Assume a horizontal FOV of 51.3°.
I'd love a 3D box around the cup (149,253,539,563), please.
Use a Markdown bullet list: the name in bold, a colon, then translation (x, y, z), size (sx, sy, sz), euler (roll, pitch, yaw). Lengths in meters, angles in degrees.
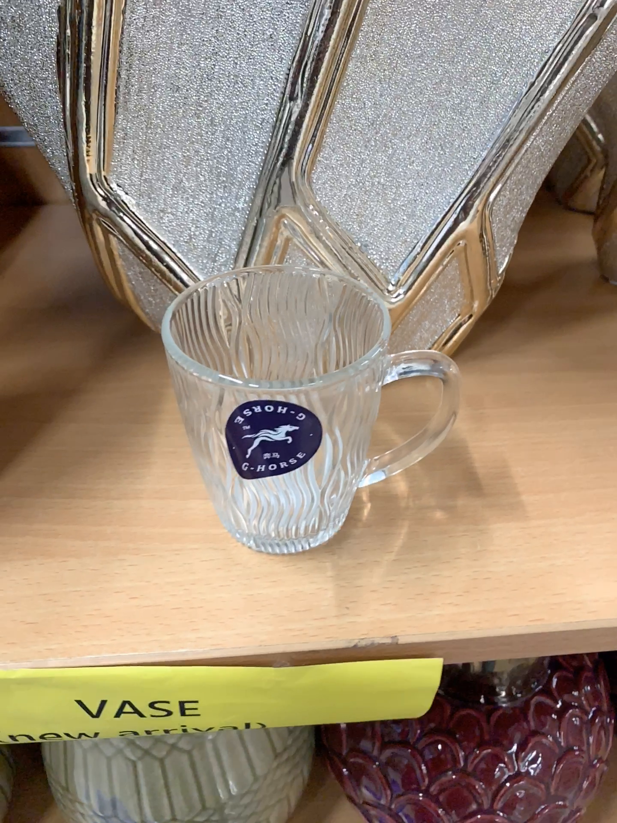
- **cup**: translation (0.007, -0.004, 0.213), size (0.100, 0.070, 0.070), euler (-3, 37, -4)
